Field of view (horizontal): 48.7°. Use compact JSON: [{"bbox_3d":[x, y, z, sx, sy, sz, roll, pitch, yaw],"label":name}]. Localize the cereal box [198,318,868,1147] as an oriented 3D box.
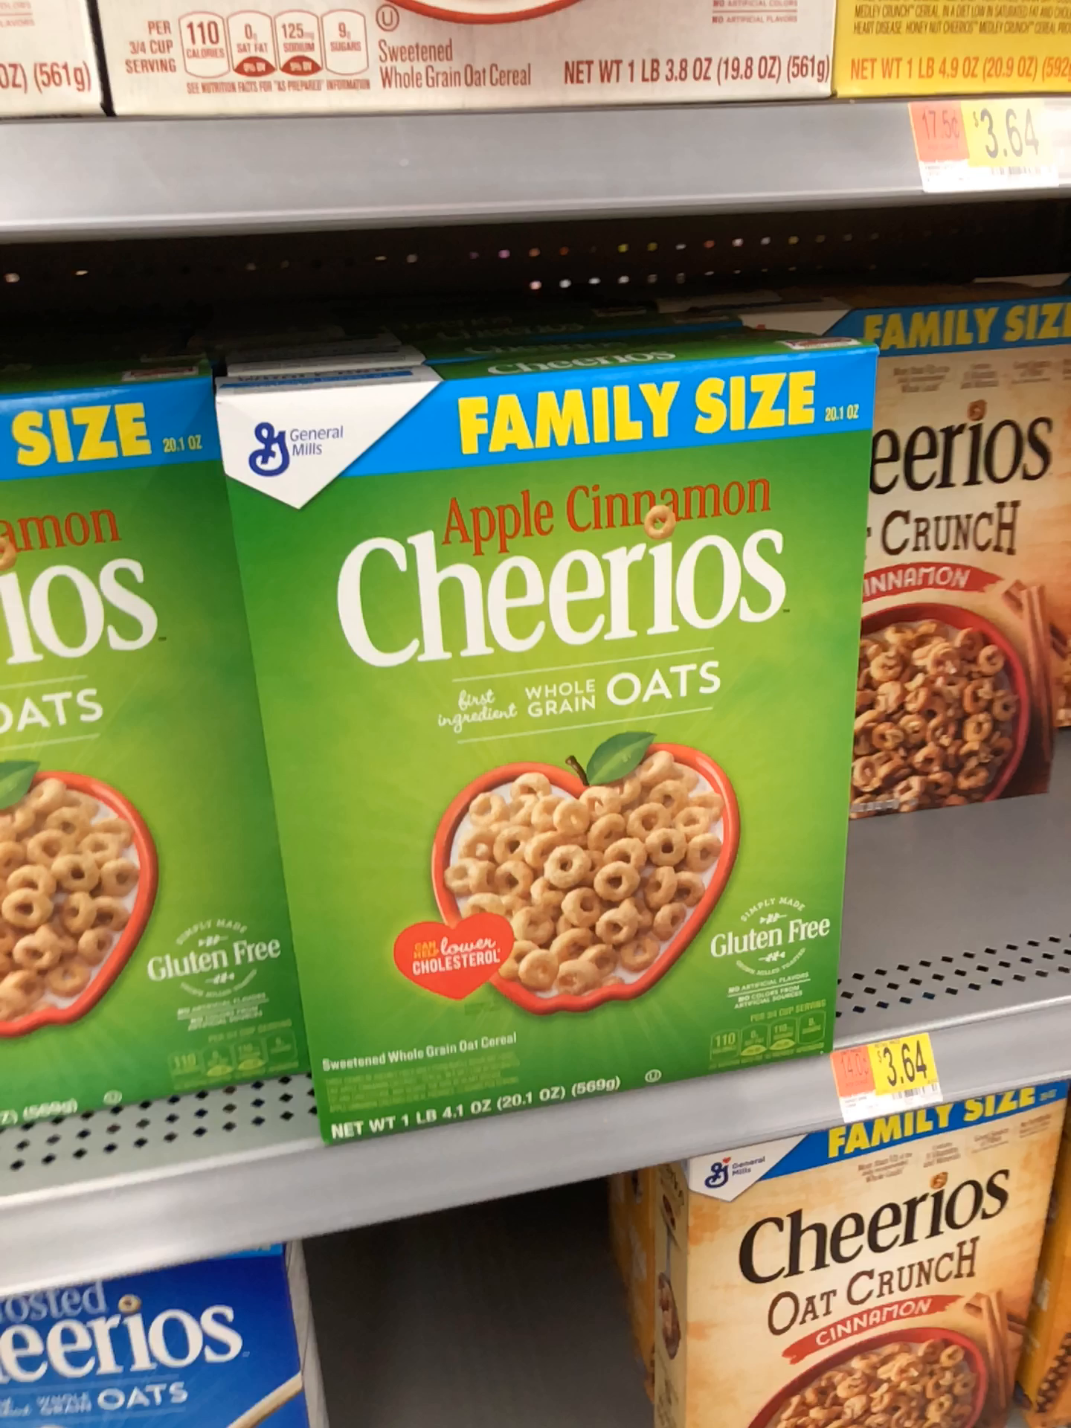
[{"bbox_3d":[0.005,0.010,0.479,0.230,0.309,0.060,-7,22,-11],"label":"cereal box"}]
